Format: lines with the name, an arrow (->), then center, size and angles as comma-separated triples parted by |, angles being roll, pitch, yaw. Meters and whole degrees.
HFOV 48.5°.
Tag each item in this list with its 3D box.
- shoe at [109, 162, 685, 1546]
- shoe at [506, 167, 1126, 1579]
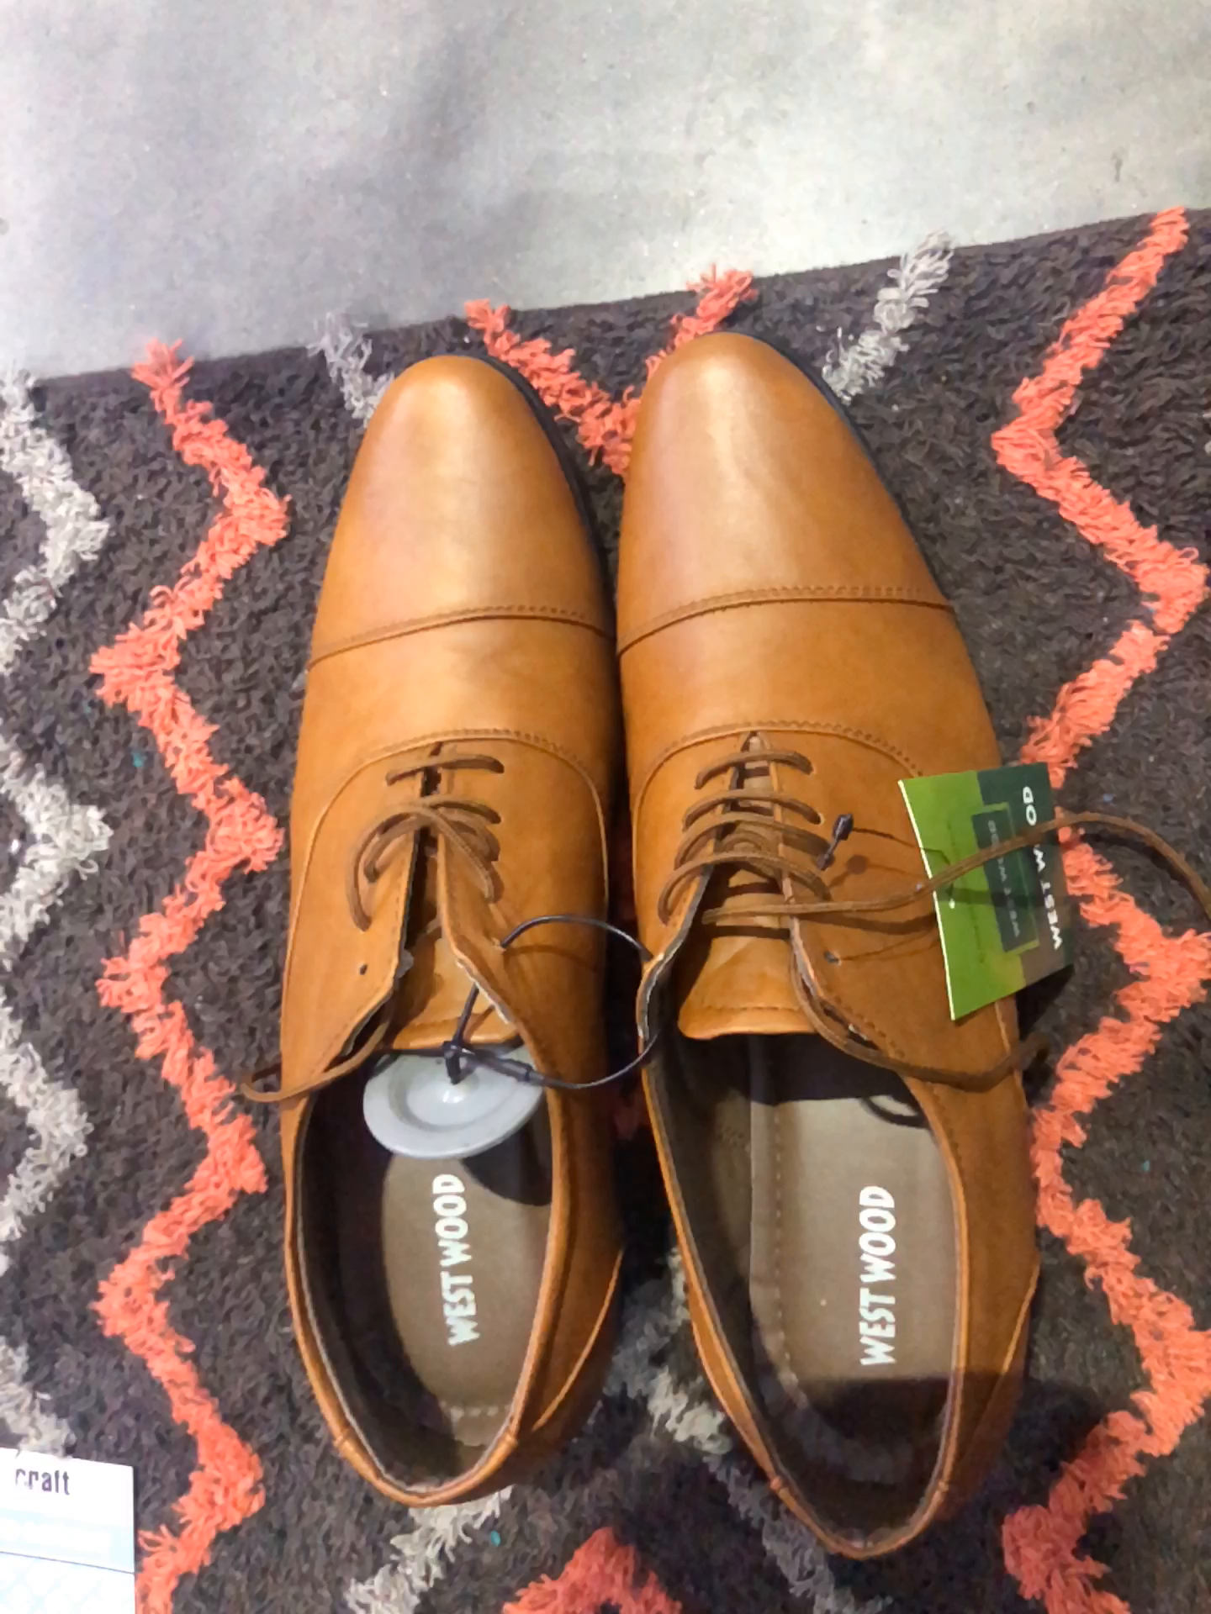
shoe -> -0.051, 0.011, 0.345 | 0.110, 0.070, 0.310 | -5, 85, 12
shoe -> 0.049, 0.015, 0.335 | 0.110, 0.080, 0.300 | -5, 85, 12
